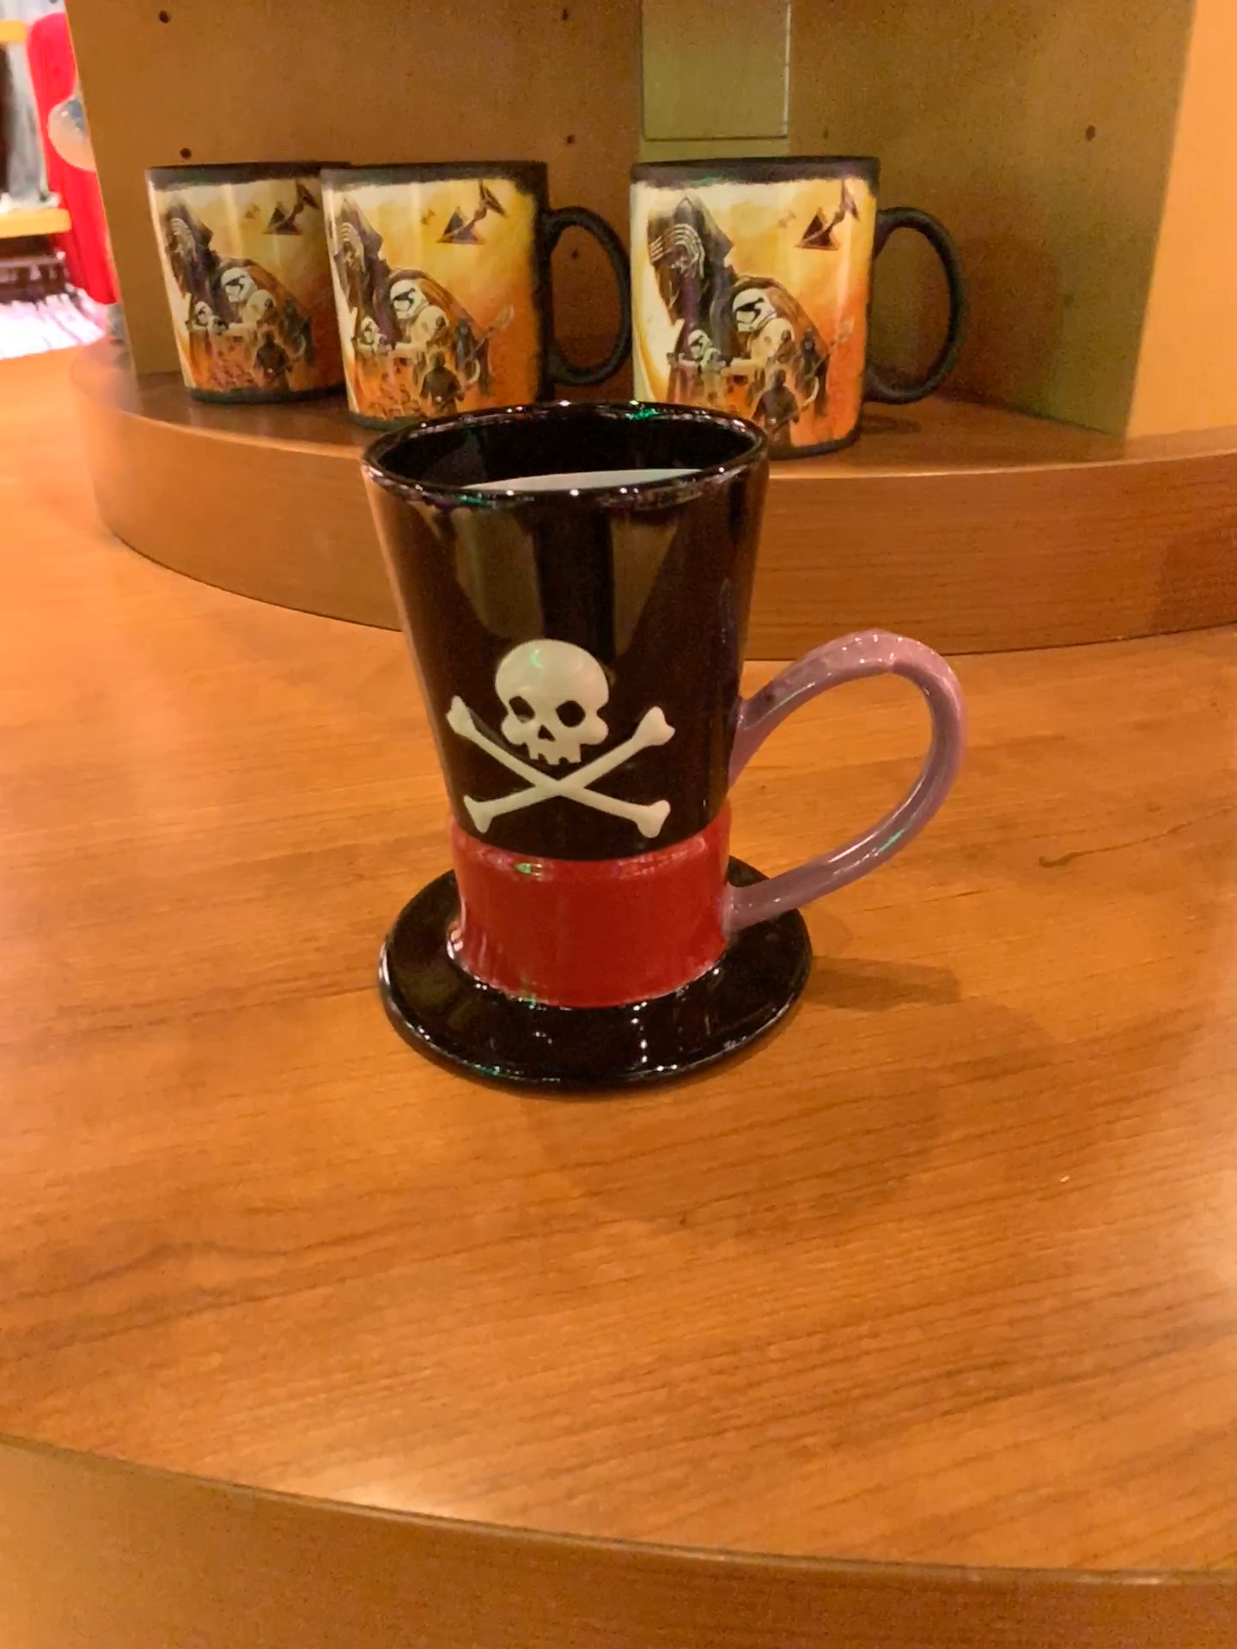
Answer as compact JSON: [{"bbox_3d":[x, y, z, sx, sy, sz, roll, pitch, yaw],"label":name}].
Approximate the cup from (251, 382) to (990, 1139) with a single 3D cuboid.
[{"bbox_3d":[0.007,-0.022,0.310,0.134,0.144,0.111,2,29,8],"label":"cup"}]
